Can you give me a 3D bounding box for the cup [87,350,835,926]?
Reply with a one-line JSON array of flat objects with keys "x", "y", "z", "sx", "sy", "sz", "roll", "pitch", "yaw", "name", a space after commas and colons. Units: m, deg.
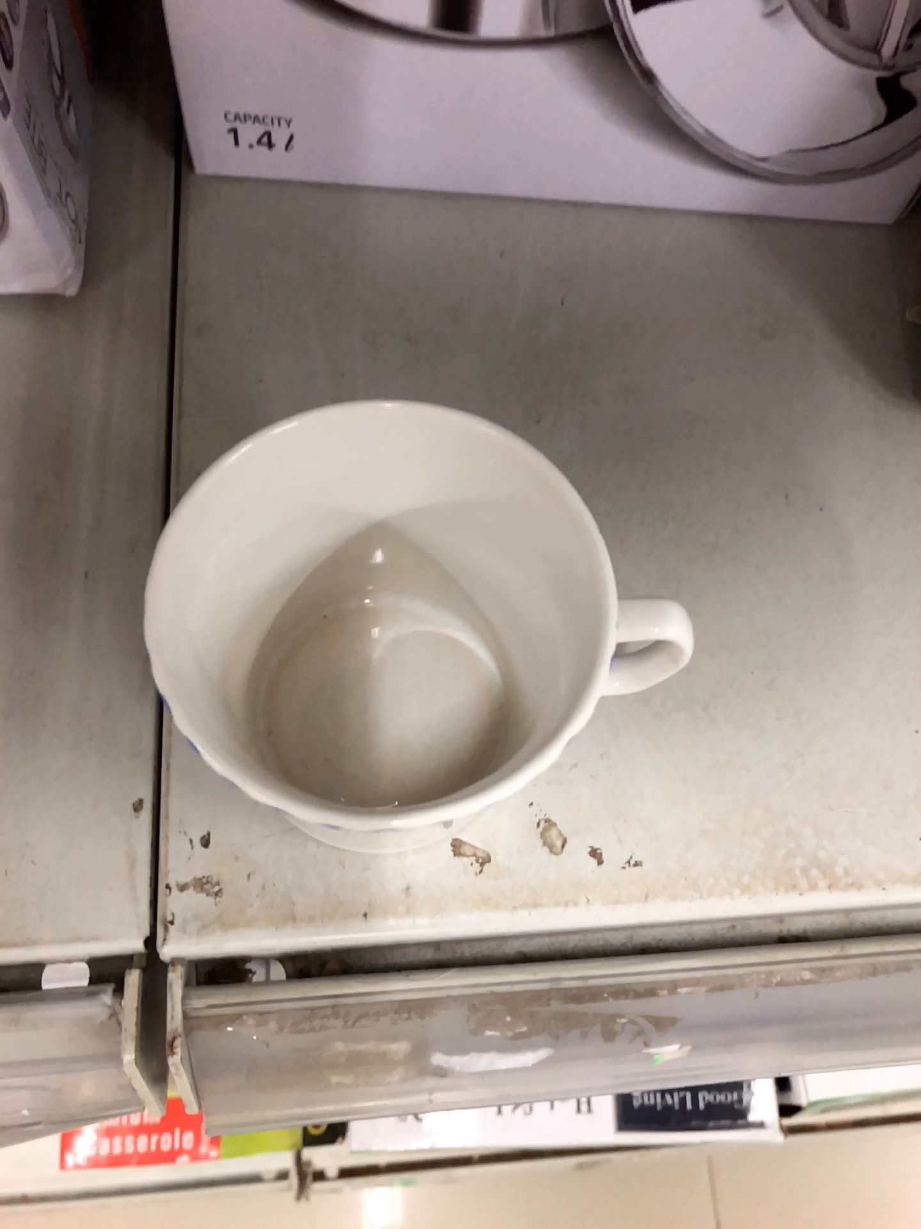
[{"x": -0.005, "y": 0.007, "z": 0.184, "sx": 0.100, "sy": 0.070, "sz": 0.070, "roll": -8, "pitch": 69, "yaw": -9, "name": "cup"}]
